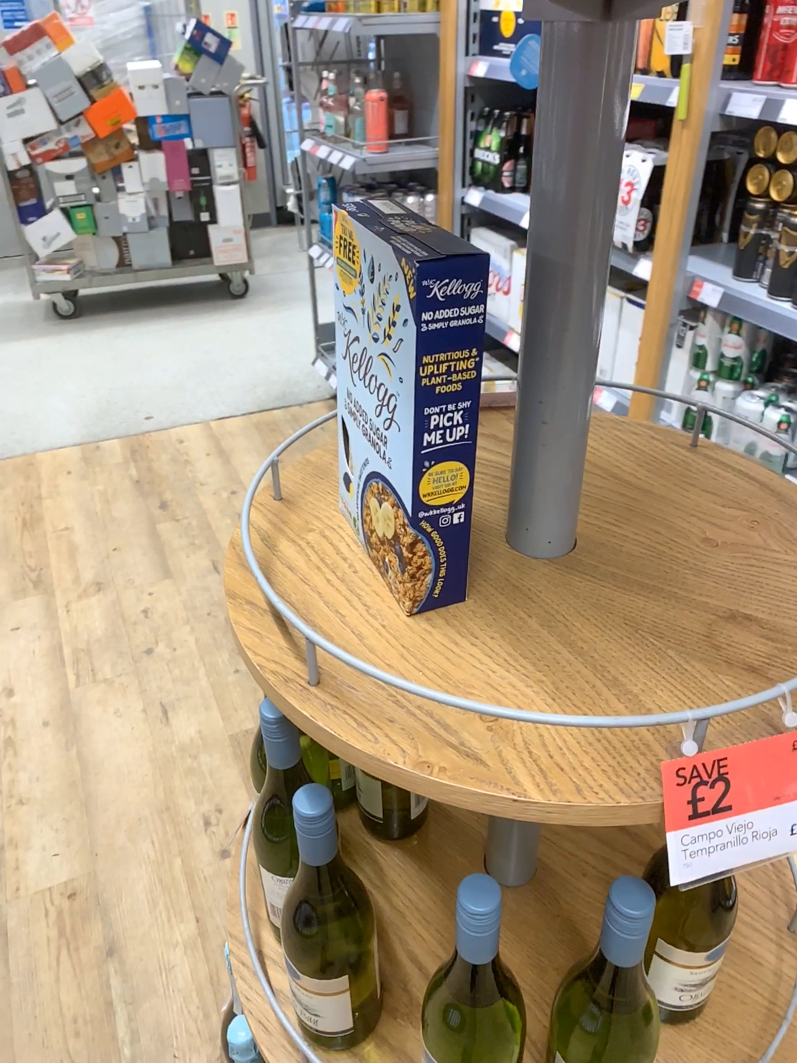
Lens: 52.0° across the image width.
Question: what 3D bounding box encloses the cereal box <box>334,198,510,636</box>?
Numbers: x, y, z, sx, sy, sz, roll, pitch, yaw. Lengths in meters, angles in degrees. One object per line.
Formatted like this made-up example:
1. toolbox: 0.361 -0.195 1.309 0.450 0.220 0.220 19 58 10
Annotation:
1. cereal box: 0.007 -0.082 0.567 0.050 0.248 0.172 -10 34 -17
